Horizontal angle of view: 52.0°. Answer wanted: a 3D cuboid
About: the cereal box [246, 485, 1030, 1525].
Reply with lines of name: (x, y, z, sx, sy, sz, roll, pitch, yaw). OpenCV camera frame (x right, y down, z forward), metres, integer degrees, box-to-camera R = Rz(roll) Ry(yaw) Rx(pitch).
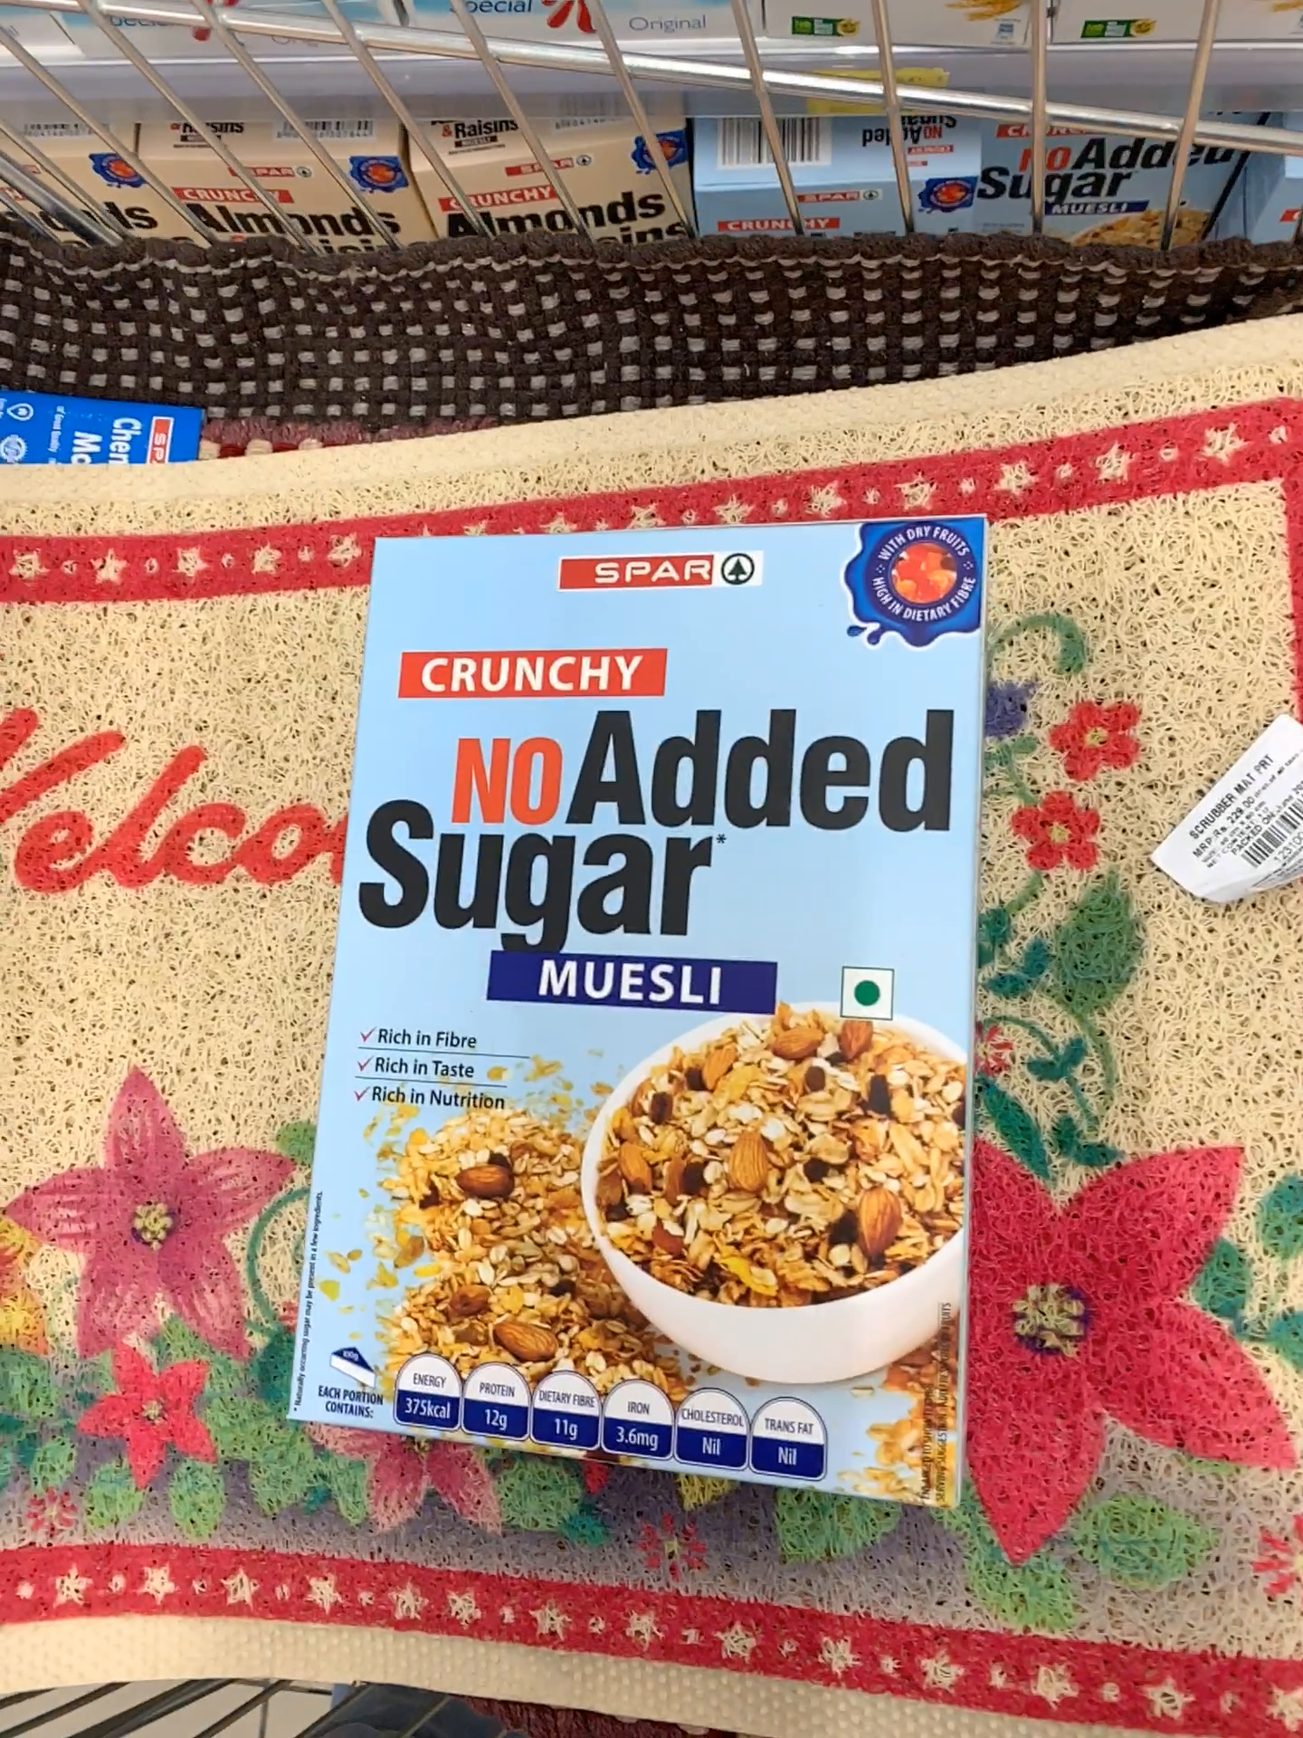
cereal box: (0.002, 0.026, 0.342, 0.180, 0.050, 0.230, 1, 80, 15)
